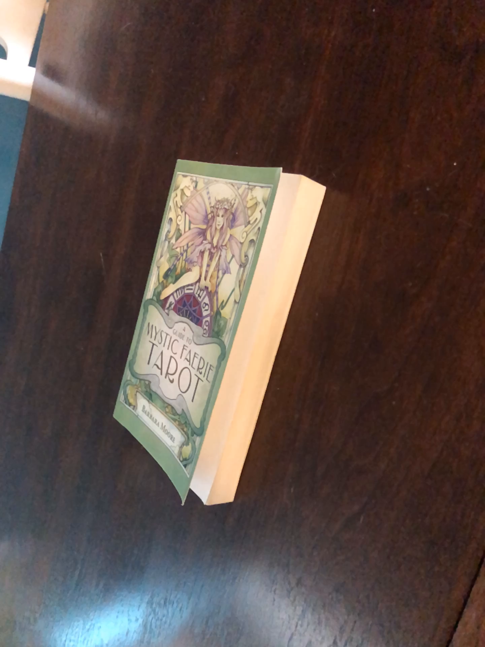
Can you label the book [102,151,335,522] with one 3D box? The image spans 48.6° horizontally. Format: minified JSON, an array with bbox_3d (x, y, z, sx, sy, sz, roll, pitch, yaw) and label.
[{"bbox_3d":[-0.029,-0.002,0.358,0.140,0.032,0.209,27,105,49],"label":"book"}]
